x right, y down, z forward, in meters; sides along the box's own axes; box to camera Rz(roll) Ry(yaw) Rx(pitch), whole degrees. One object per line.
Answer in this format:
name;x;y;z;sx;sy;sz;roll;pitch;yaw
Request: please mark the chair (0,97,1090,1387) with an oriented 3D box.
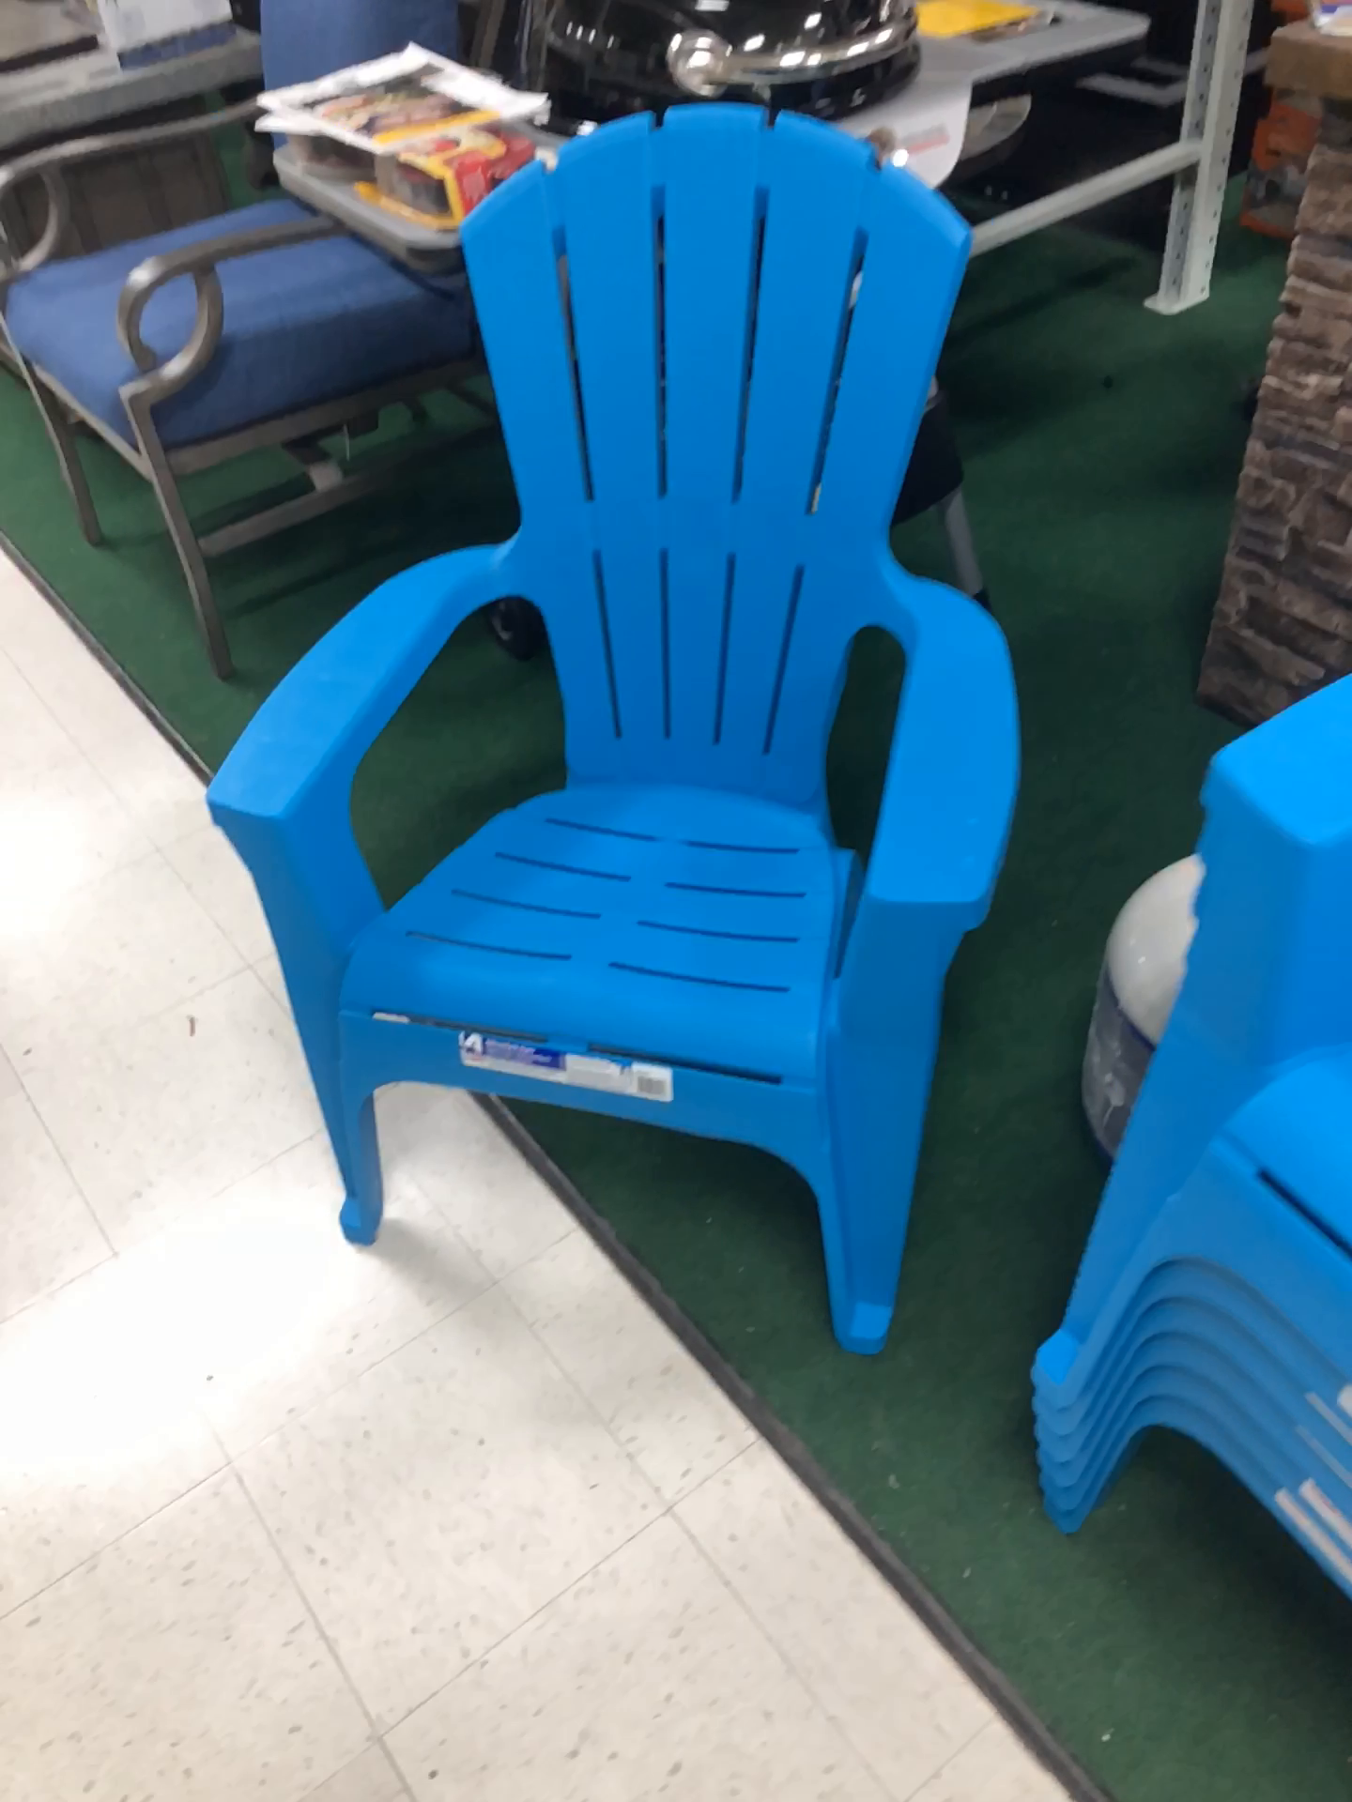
chair;-0.042;-0.141;1.393;0.681;0.932;0.649;8;46;15
